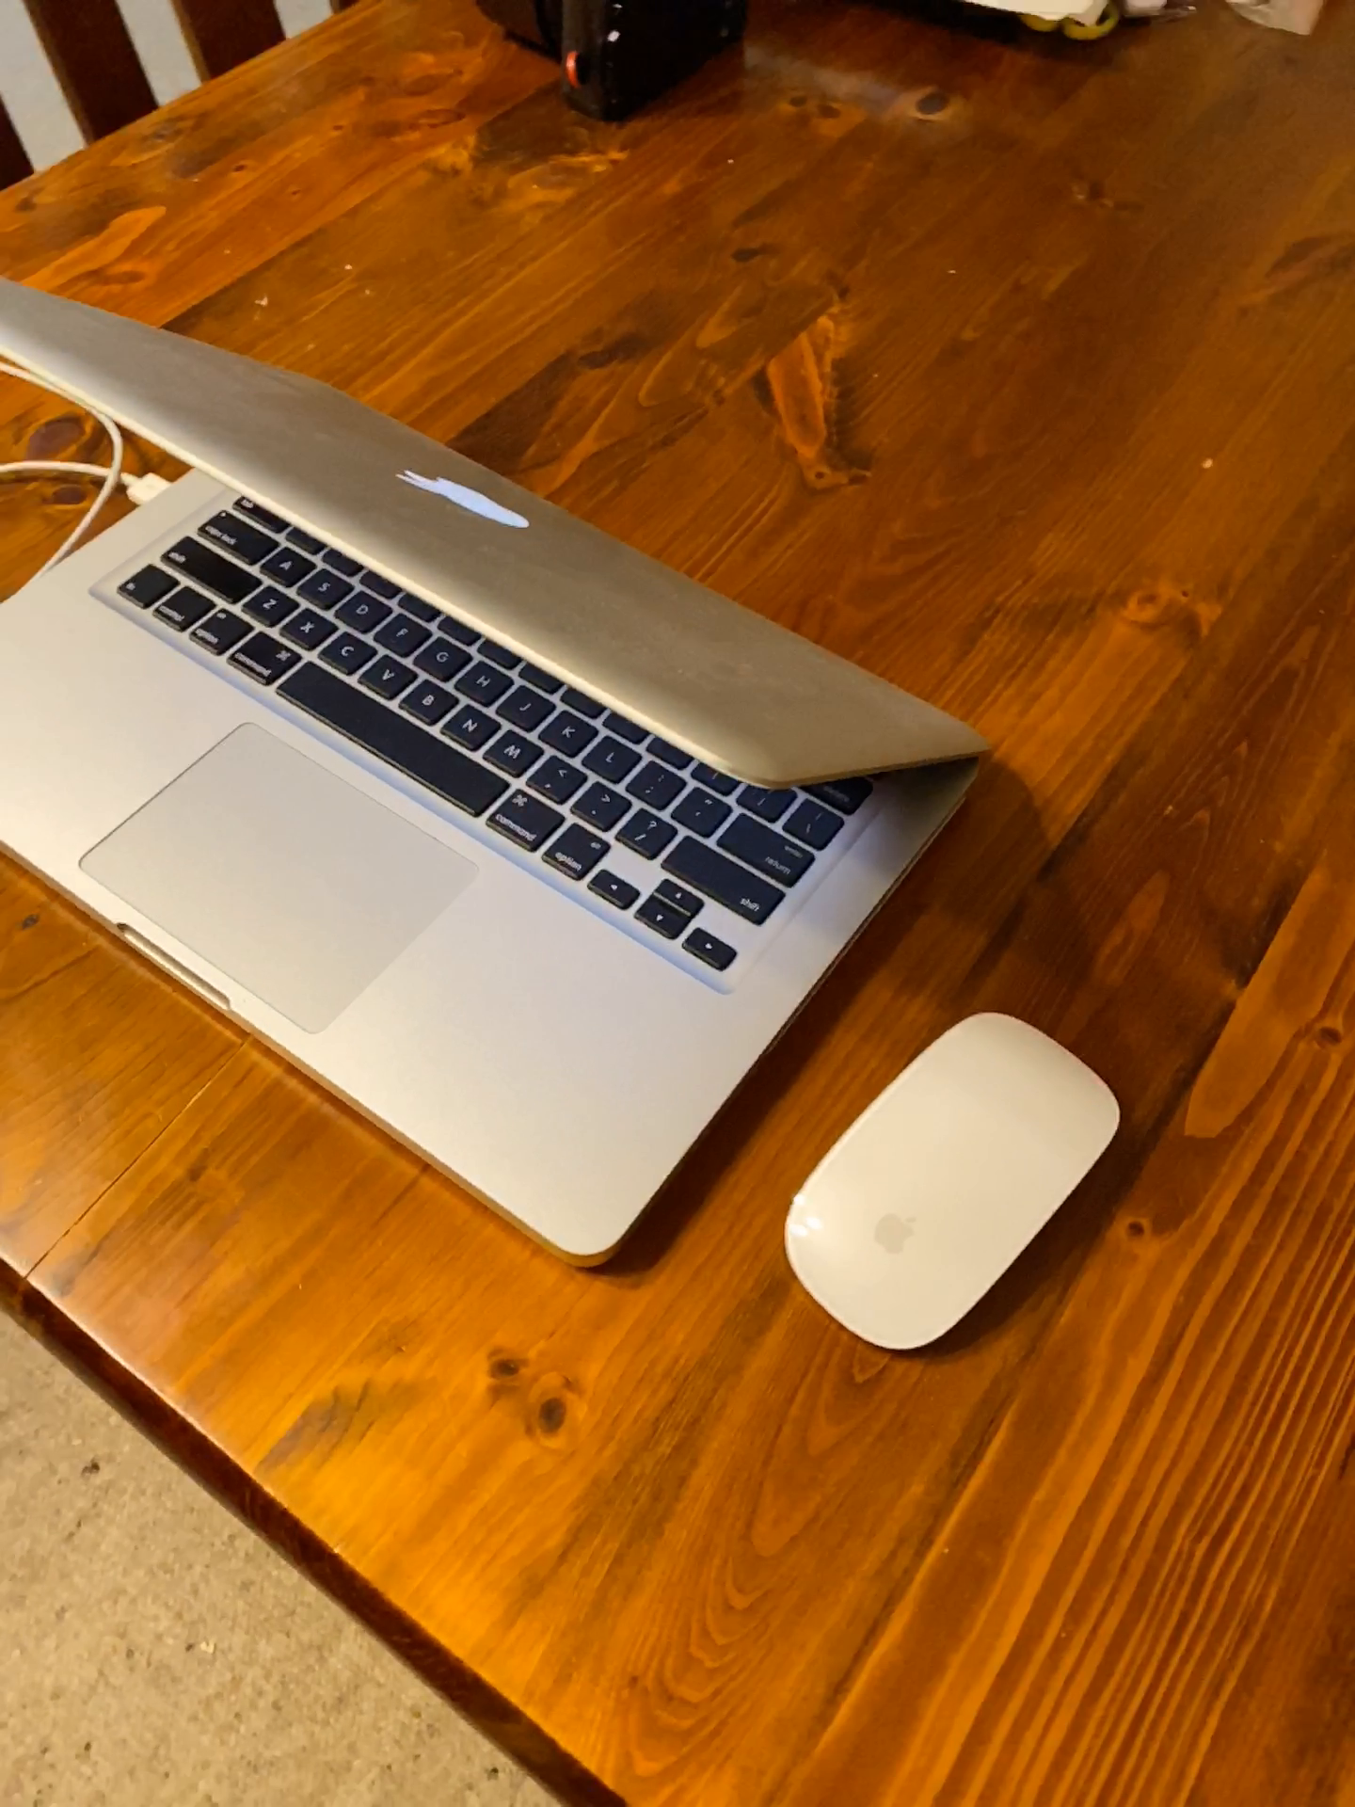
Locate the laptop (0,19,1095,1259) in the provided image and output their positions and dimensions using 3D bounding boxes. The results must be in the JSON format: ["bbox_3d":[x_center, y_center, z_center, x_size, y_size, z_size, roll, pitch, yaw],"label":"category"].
[{"bbox_3d":[-0.085,-0.094,0.403,0.311,0.136,0.212,32,62,18],"label":"laptop"}]
